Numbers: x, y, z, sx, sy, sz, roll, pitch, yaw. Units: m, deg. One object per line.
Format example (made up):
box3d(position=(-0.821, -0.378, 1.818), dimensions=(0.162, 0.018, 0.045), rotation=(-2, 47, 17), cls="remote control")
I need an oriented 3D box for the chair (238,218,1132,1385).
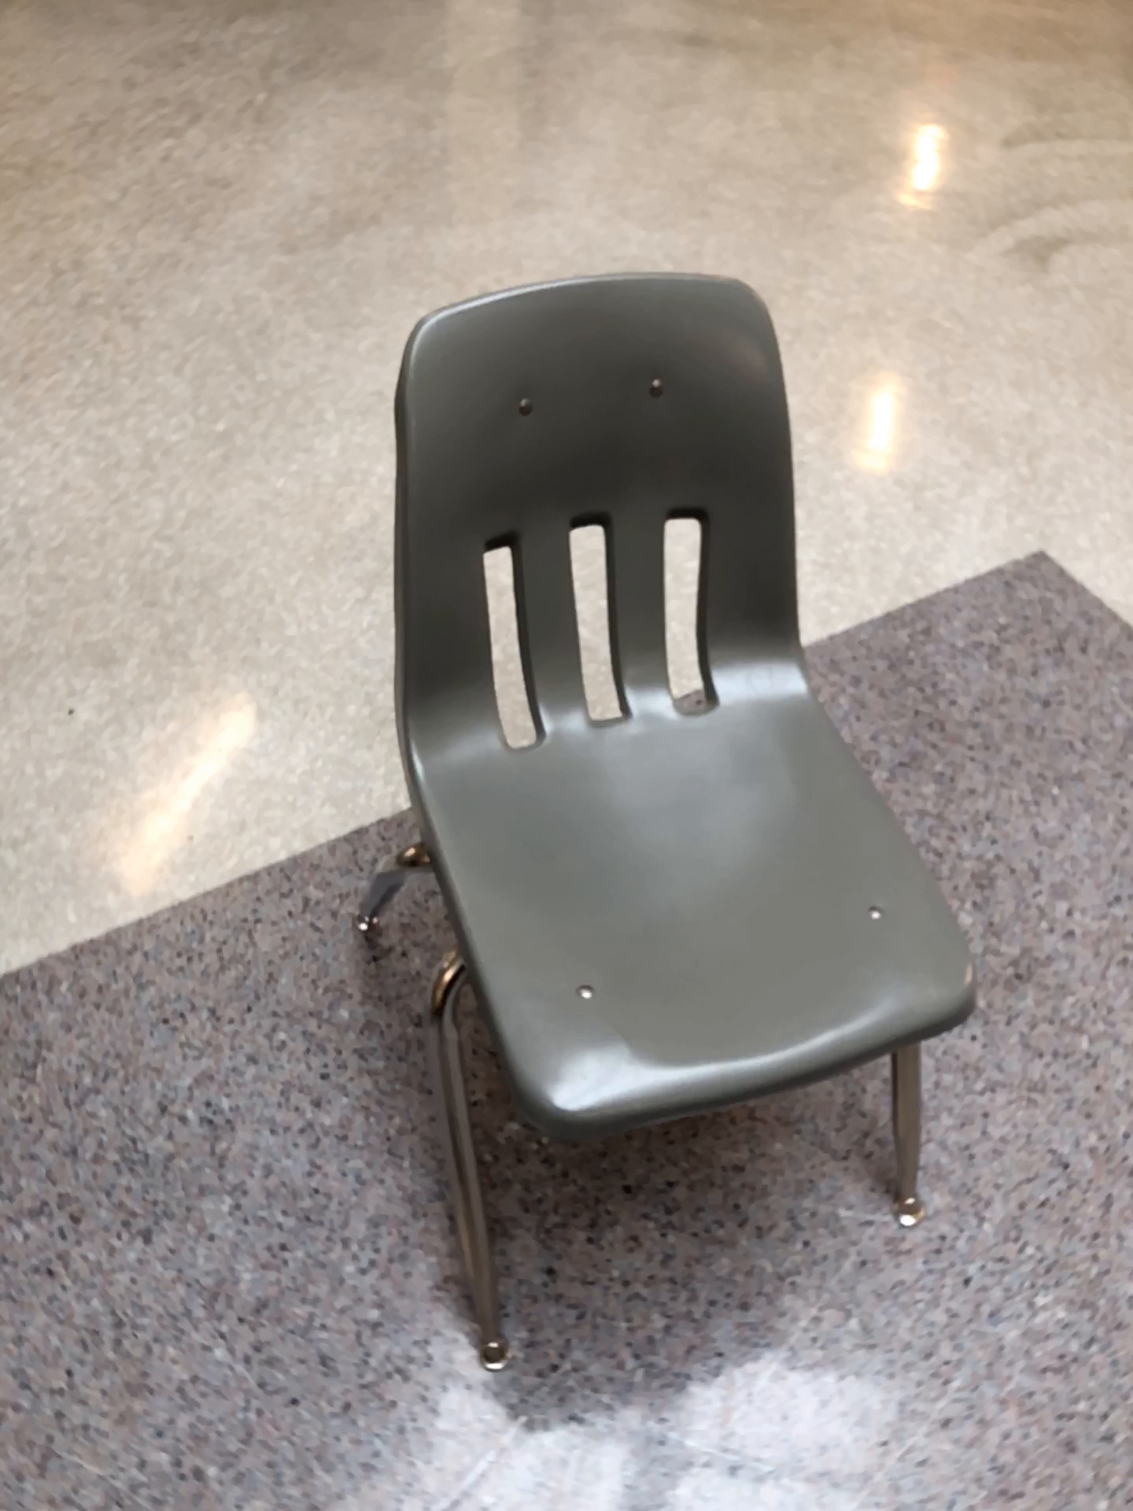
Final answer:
box3d(position=(0.086, 0.046, 1.011), dimensions=(0.510, 0.666, 0.553), rotation=(-13, 51, -14), cls="chair")
